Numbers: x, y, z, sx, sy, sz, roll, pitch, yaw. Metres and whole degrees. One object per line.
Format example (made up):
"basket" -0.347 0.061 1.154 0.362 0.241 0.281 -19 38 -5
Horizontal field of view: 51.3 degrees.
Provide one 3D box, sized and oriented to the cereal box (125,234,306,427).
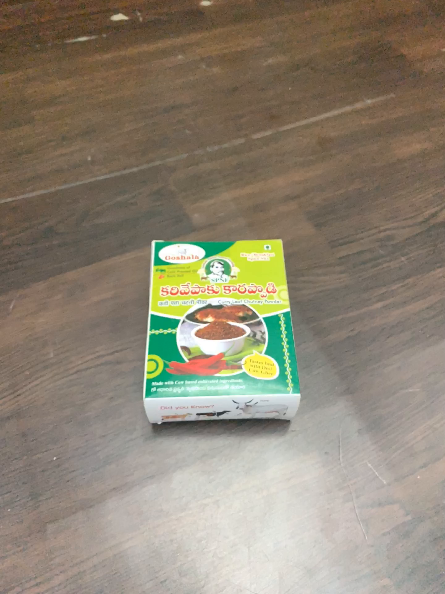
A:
"cereal box" -0.005 0.018 0.306 0.100 0.040 0.120 -1 56 -1
